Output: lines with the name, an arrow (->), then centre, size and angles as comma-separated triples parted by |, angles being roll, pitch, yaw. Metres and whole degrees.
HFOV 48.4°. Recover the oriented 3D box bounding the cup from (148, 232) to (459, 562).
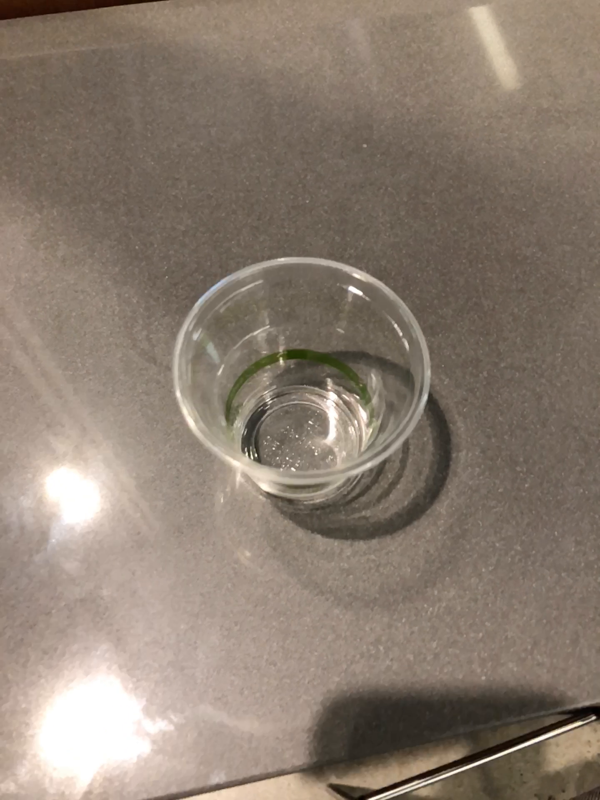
cup -> 0.003, 0.001, 0.211 | 0.070, 0.060, 0.070 | 0, 62, 0
